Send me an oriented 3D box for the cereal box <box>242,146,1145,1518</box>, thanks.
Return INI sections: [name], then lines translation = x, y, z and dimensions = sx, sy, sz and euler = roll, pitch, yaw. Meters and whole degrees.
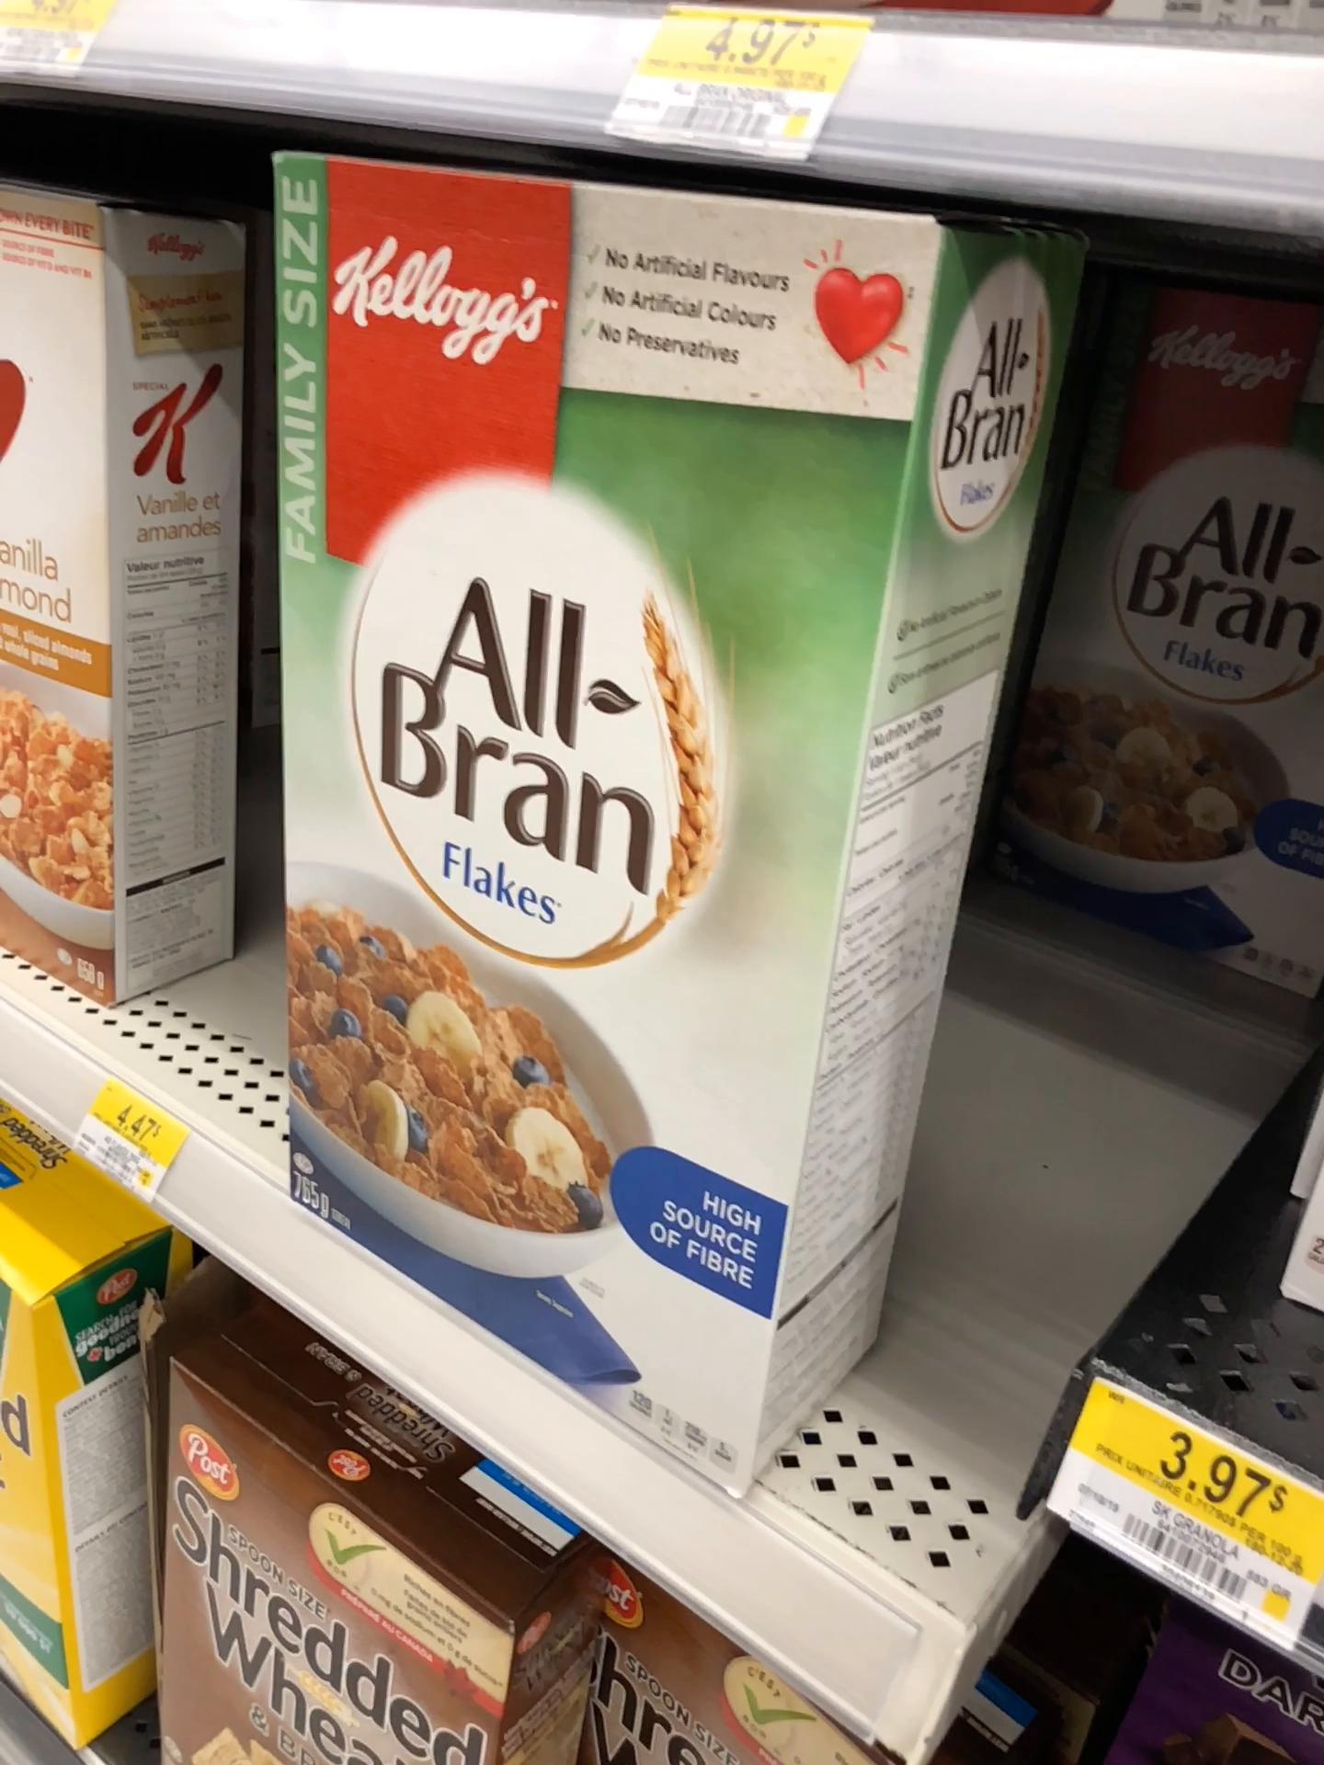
[cereal box]
translation = -0.018, -0.019, 0.414
dimensions = 0.211, 0.318, 0.080
euler = 22, 28, 31
